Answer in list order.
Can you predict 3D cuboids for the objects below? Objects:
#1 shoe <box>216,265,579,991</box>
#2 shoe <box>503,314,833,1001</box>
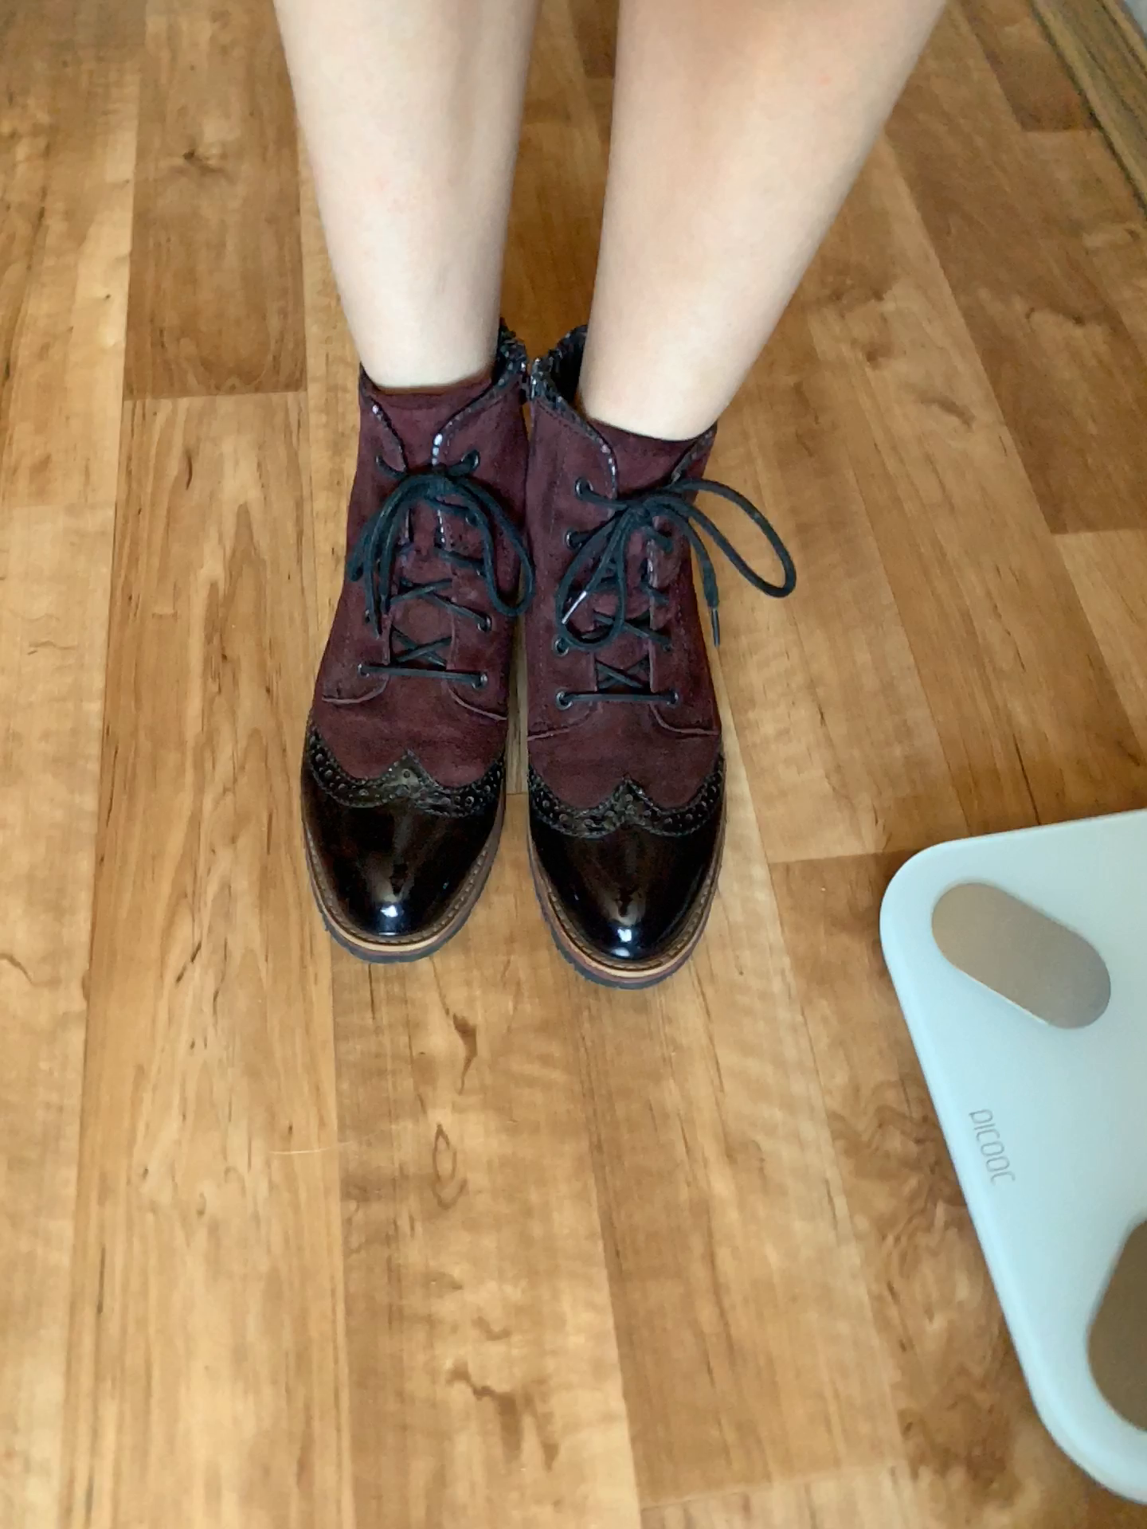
[{"bbox_3d":[-0.060,-0.057,0.489,0.100,0.140,0.260,5,61,-3],"label":"shoe"},{"bbox_3d":[0.024,-0.046,0.508,0.100,0.140,0.260,0,61,-6],"label":"shoe"}]
